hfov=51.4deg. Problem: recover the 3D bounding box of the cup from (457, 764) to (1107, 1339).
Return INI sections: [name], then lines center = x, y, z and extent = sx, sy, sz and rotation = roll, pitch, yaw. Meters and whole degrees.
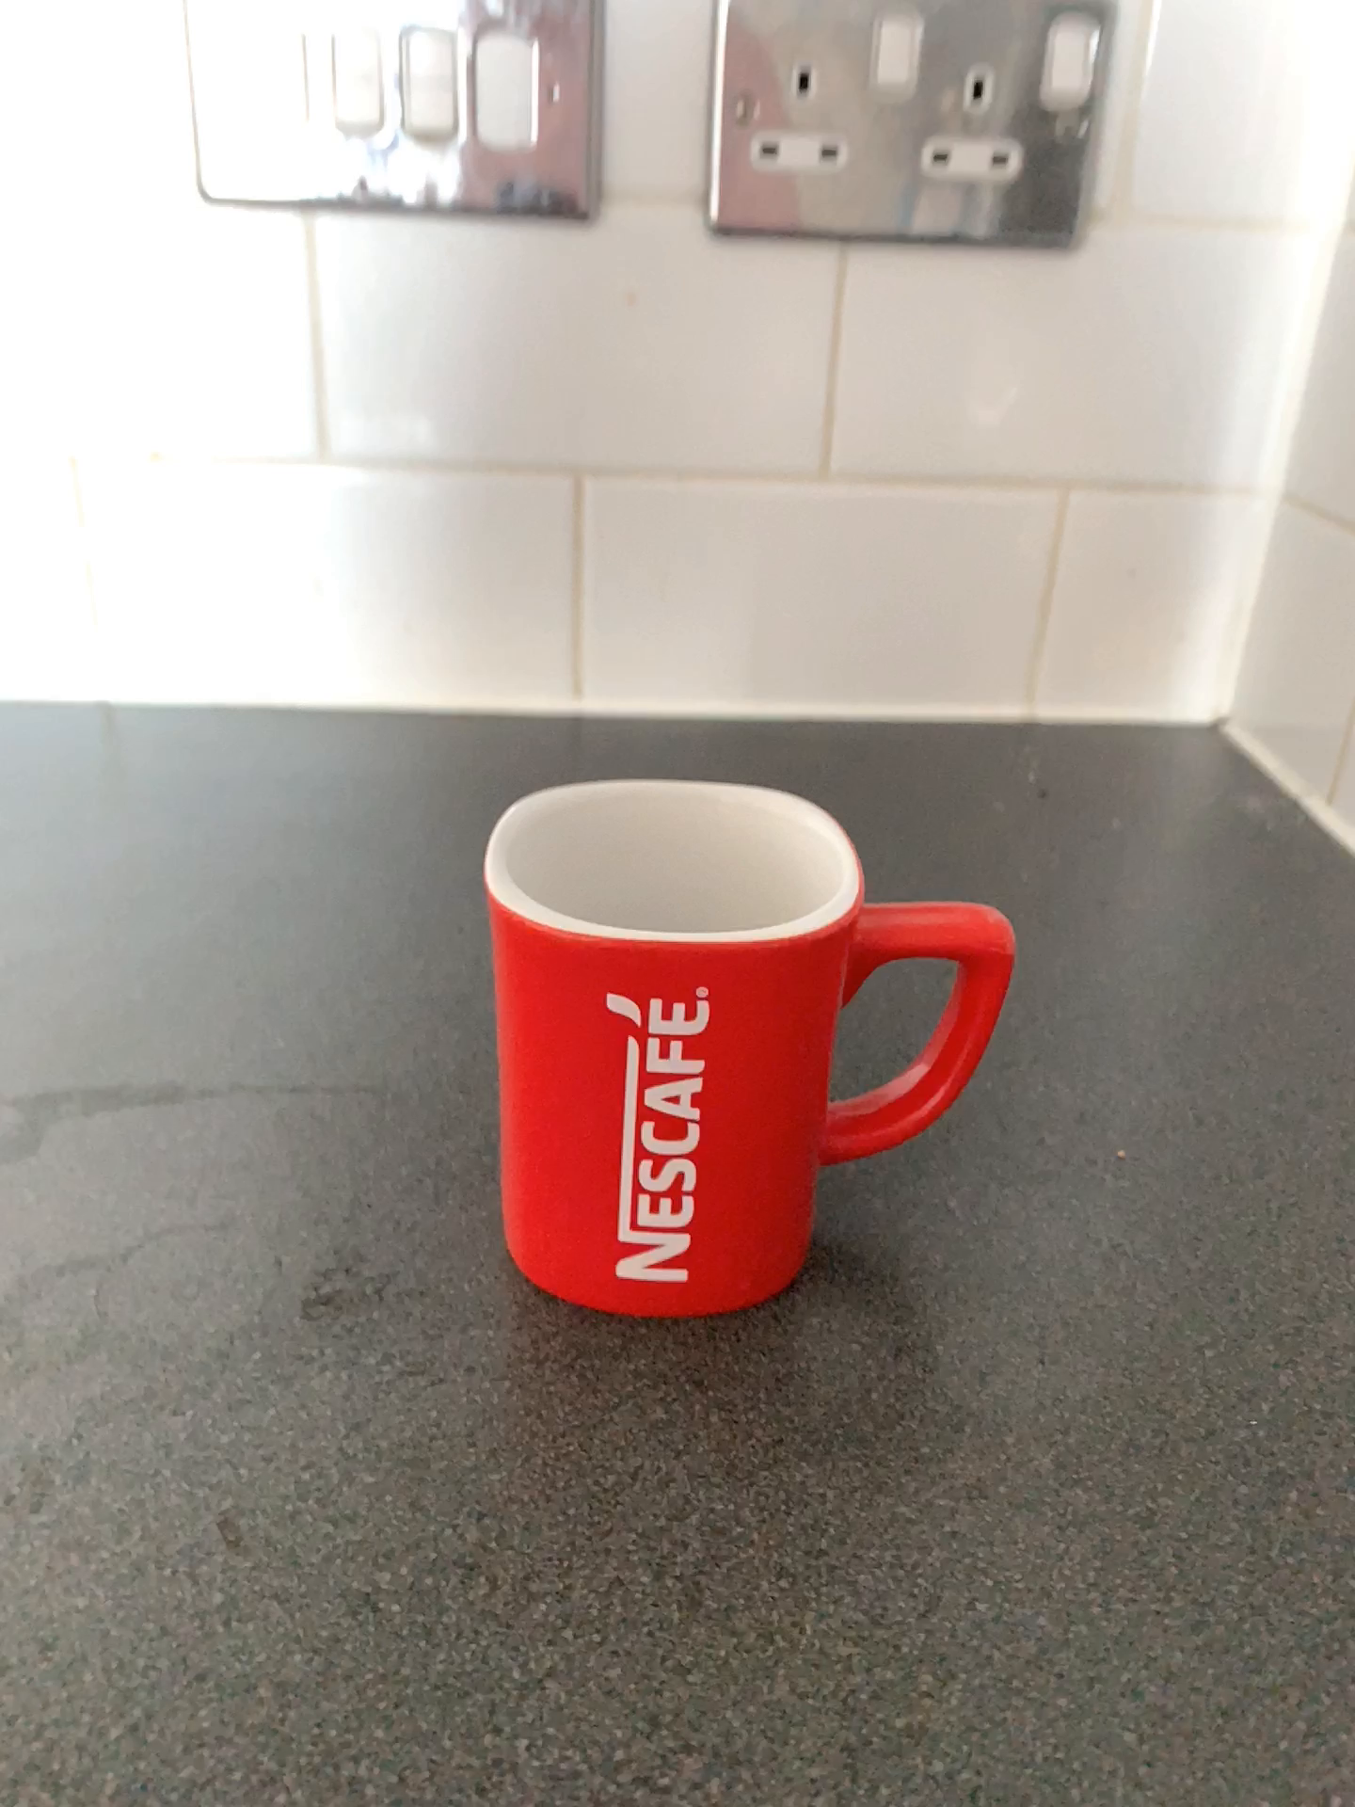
[cup]
center = 0.017, 0.029, 0.292
extent = 0.112, 0.092, 0.067
rotation = 2, 26, 0
